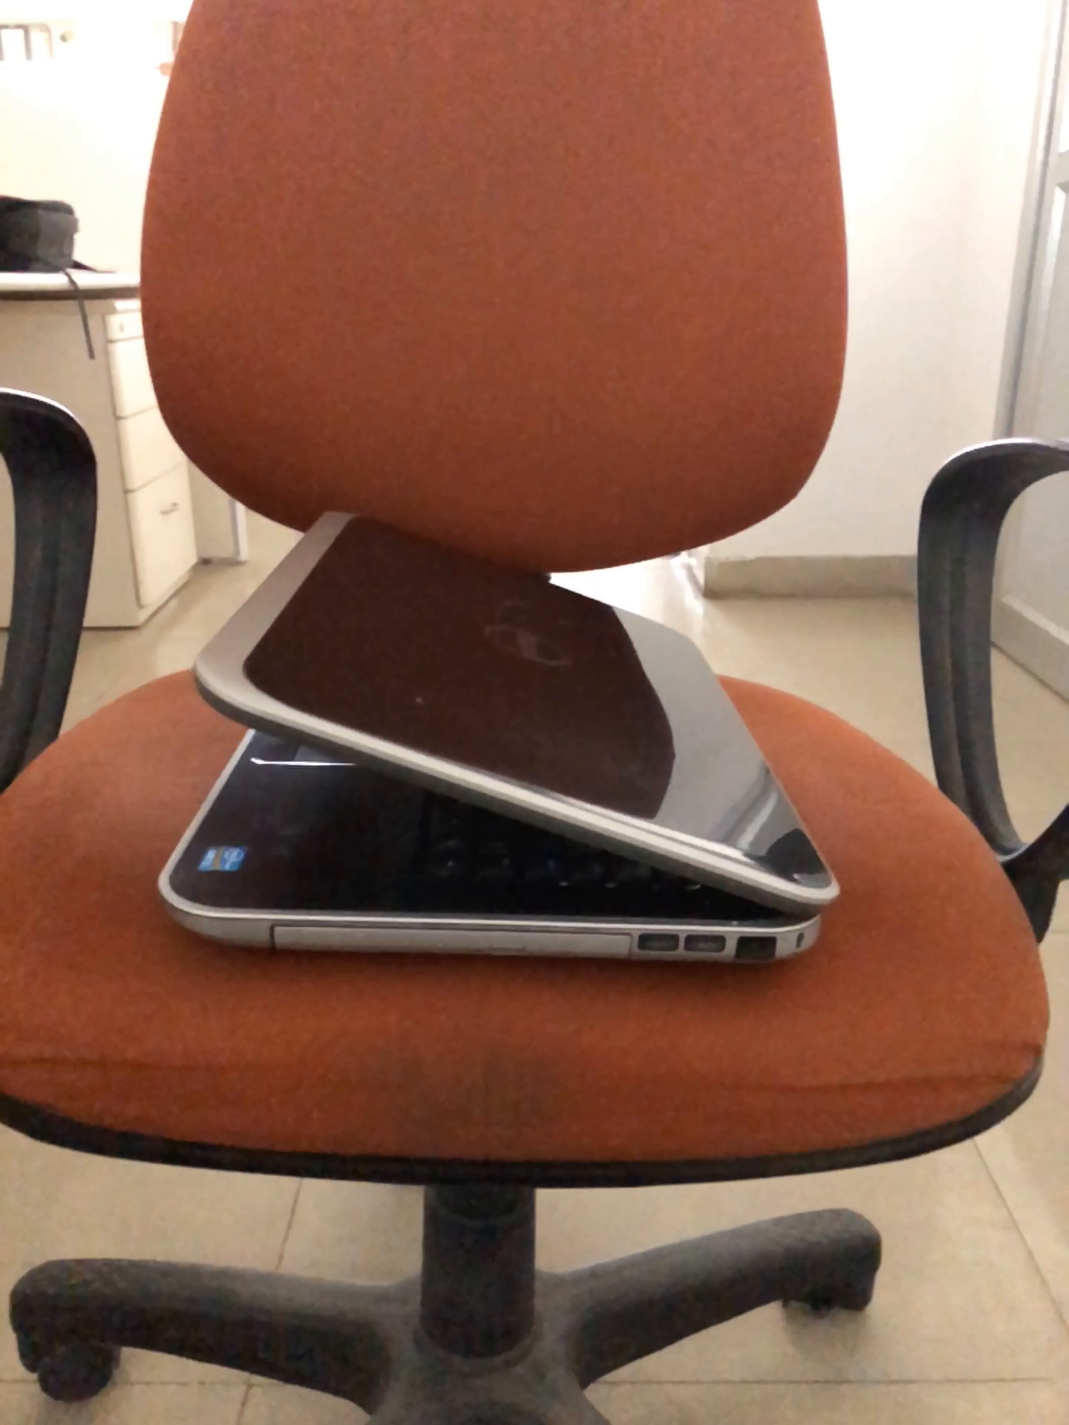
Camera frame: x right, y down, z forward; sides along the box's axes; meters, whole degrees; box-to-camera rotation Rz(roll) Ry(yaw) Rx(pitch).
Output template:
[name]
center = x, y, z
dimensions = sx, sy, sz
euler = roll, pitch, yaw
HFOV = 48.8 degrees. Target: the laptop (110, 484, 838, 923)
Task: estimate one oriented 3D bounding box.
[laptop]
center = -0.022, -0.033, 0.567
dimensions = 0.233, 0.091, 0.368
euler = 2, 19, -2
